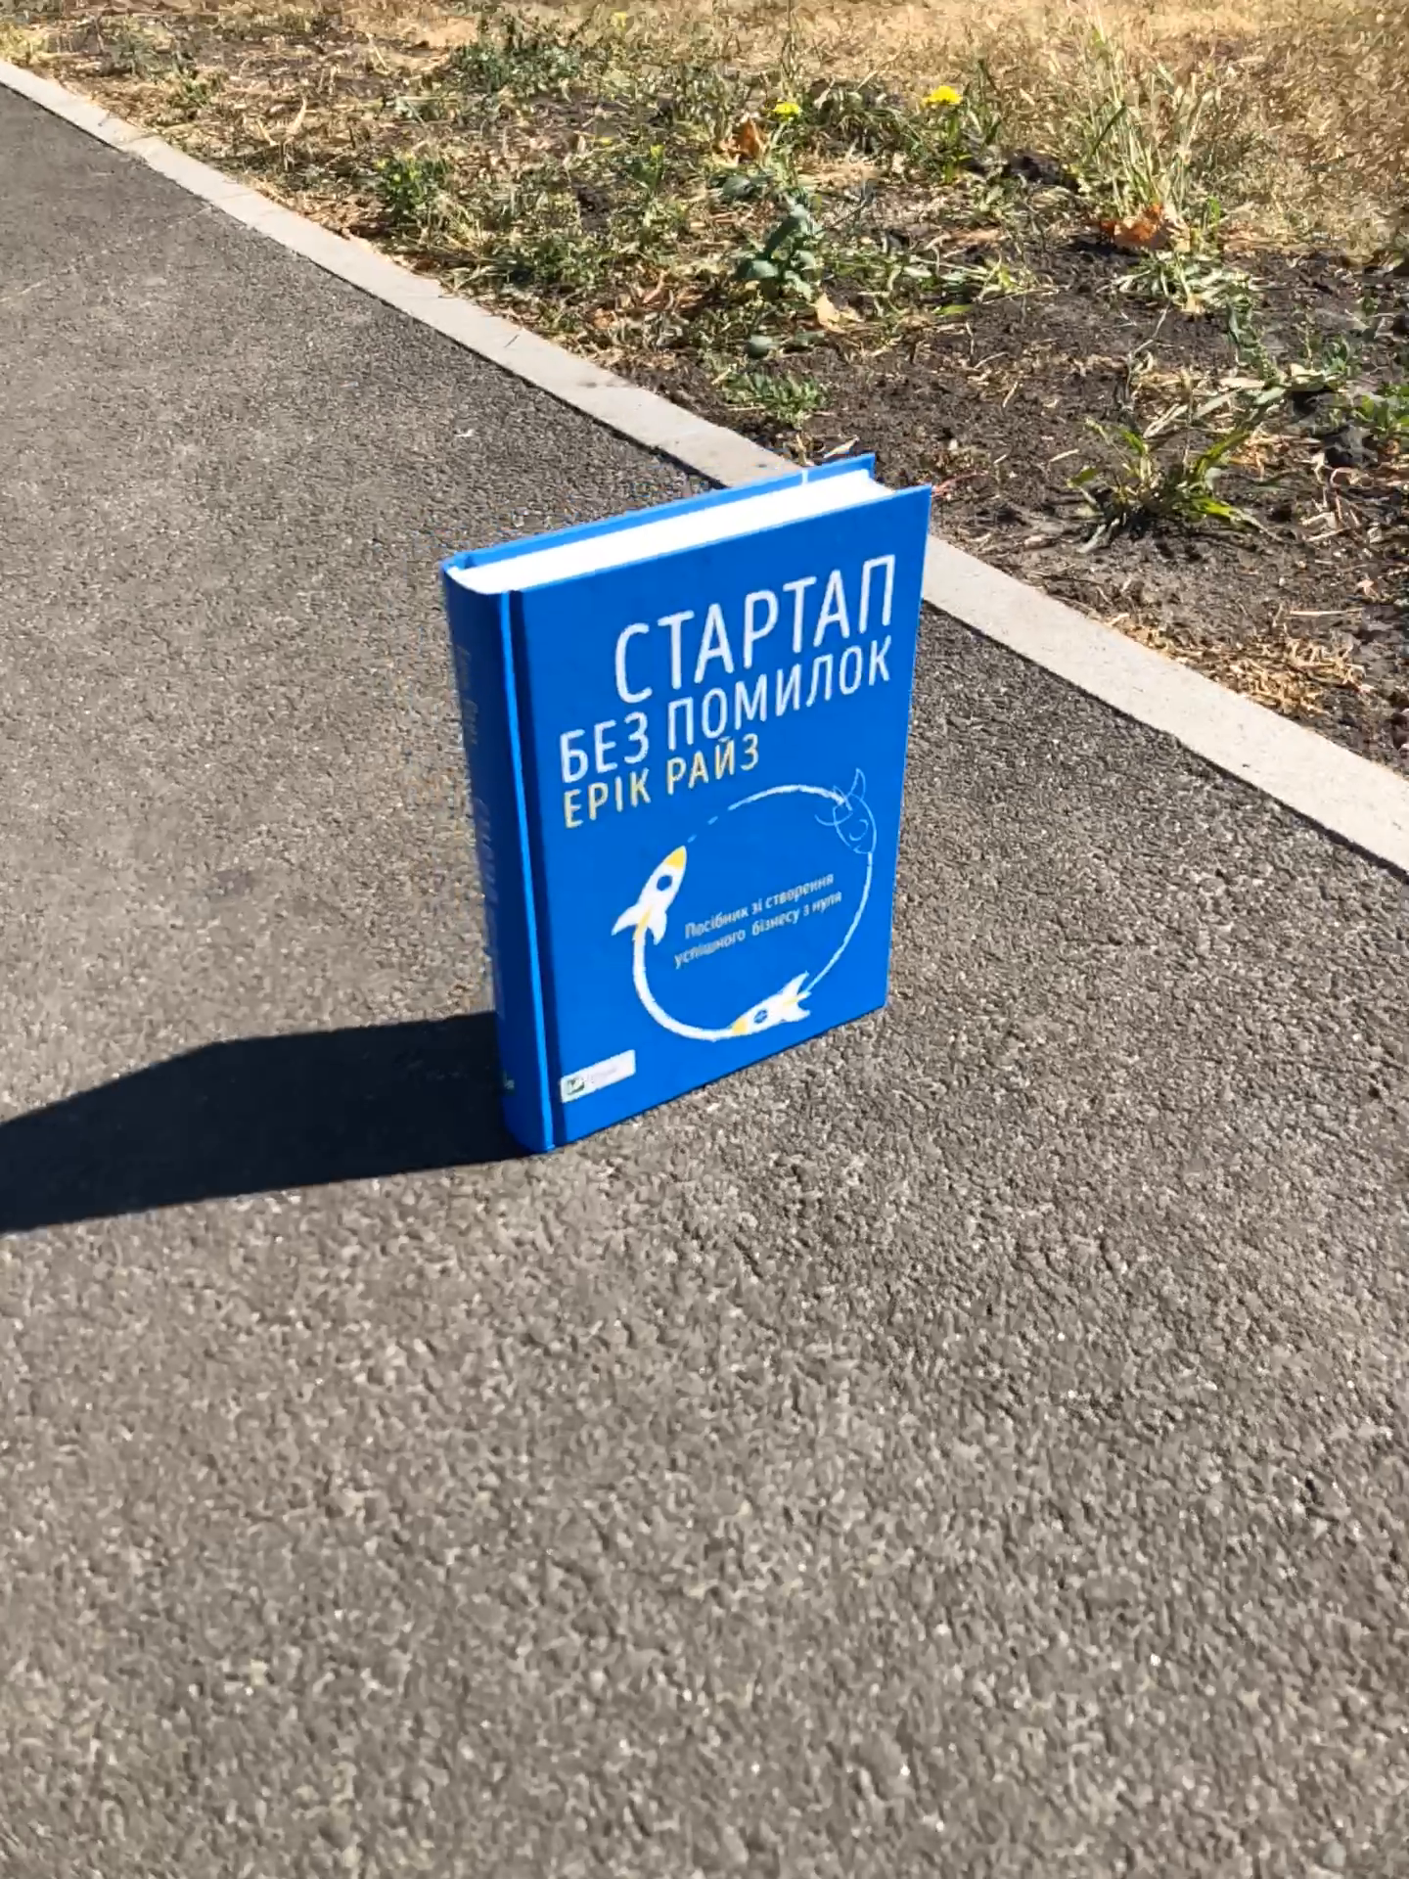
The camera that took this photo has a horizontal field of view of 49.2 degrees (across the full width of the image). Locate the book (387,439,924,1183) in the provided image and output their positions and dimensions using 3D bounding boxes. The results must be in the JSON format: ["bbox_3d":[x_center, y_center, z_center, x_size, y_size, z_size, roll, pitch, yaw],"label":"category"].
[{"bbox_3d":[-0.007,-0.038,0.496,0.155,0.204,0.039,-22,40,-24],"label":"book"}]
